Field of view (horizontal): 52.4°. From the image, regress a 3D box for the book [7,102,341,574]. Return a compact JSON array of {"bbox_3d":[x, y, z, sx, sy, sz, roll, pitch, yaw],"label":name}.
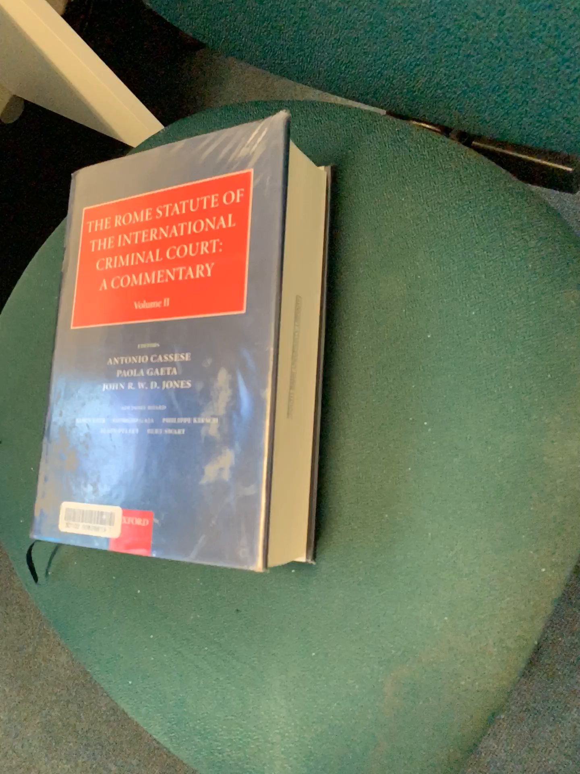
[{"bbox_3d":[-0.073,-0.026,0.384,0.188,0.070,0.256,-2,78,28],"label":"book"}]
